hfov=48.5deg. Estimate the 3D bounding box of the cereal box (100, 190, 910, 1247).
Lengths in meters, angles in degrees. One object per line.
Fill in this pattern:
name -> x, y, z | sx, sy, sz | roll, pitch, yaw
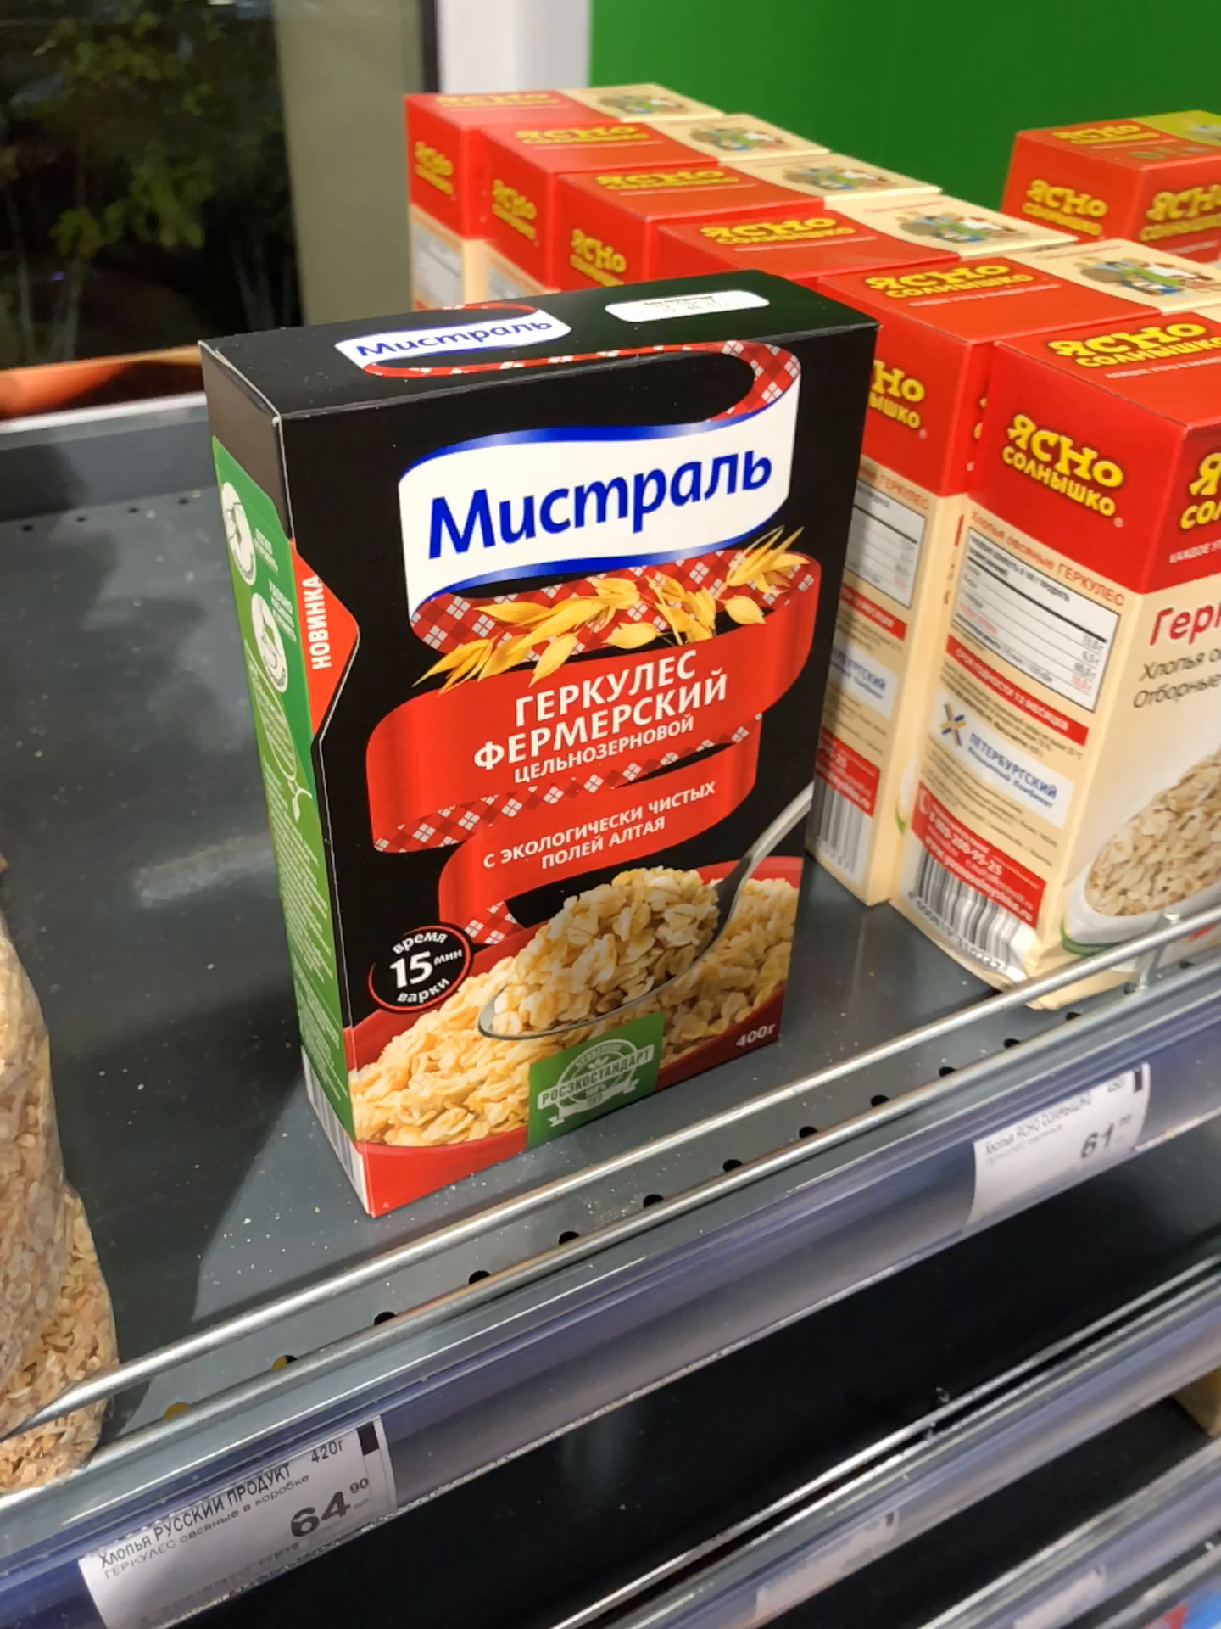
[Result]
cereal box -> -0.020, -0.015, 0.313 | 0.140, 0.219, 0.050 | -18, 42, -26
